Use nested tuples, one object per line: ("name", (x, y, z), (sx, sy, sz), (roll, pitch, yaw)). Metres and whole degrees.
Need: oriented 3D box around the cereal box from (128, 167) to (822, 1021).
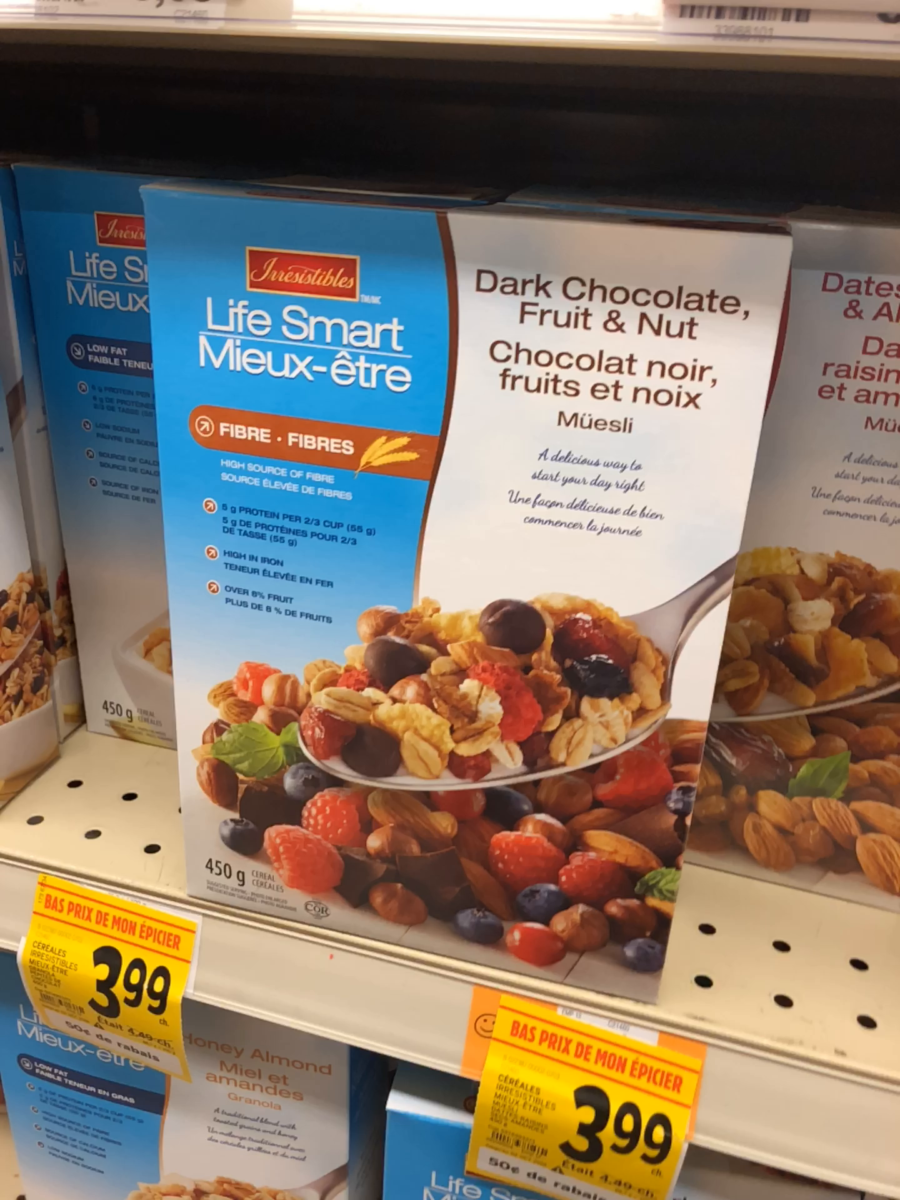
("cereal box", (0.000, 0.002, 0.308), (0.170, 0.238, 0.050), (9, 25, 13))
